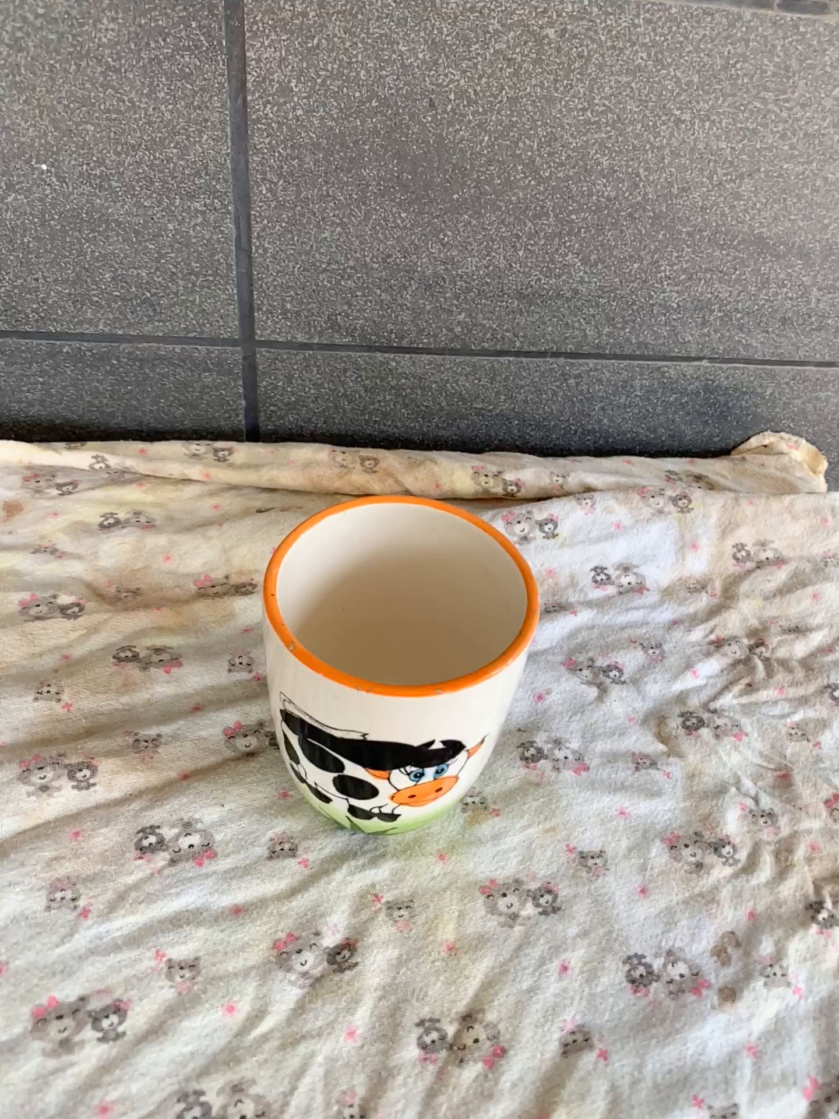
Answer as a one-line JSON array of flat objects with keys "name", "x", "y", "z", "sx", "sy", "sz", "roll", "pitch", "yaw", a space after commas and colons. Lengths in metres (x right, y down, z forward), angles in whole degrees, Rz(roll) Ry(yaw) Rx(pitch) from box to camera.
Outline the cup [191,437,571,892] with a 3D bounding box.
[{"name": "cup", "x": -0.010, "y": 0.031, "z": 0.264, "sx": 0.080, "sy": 0.090, "sz": 0.080, "roll": 4, "pitch": 44, "yaw": -4}]
